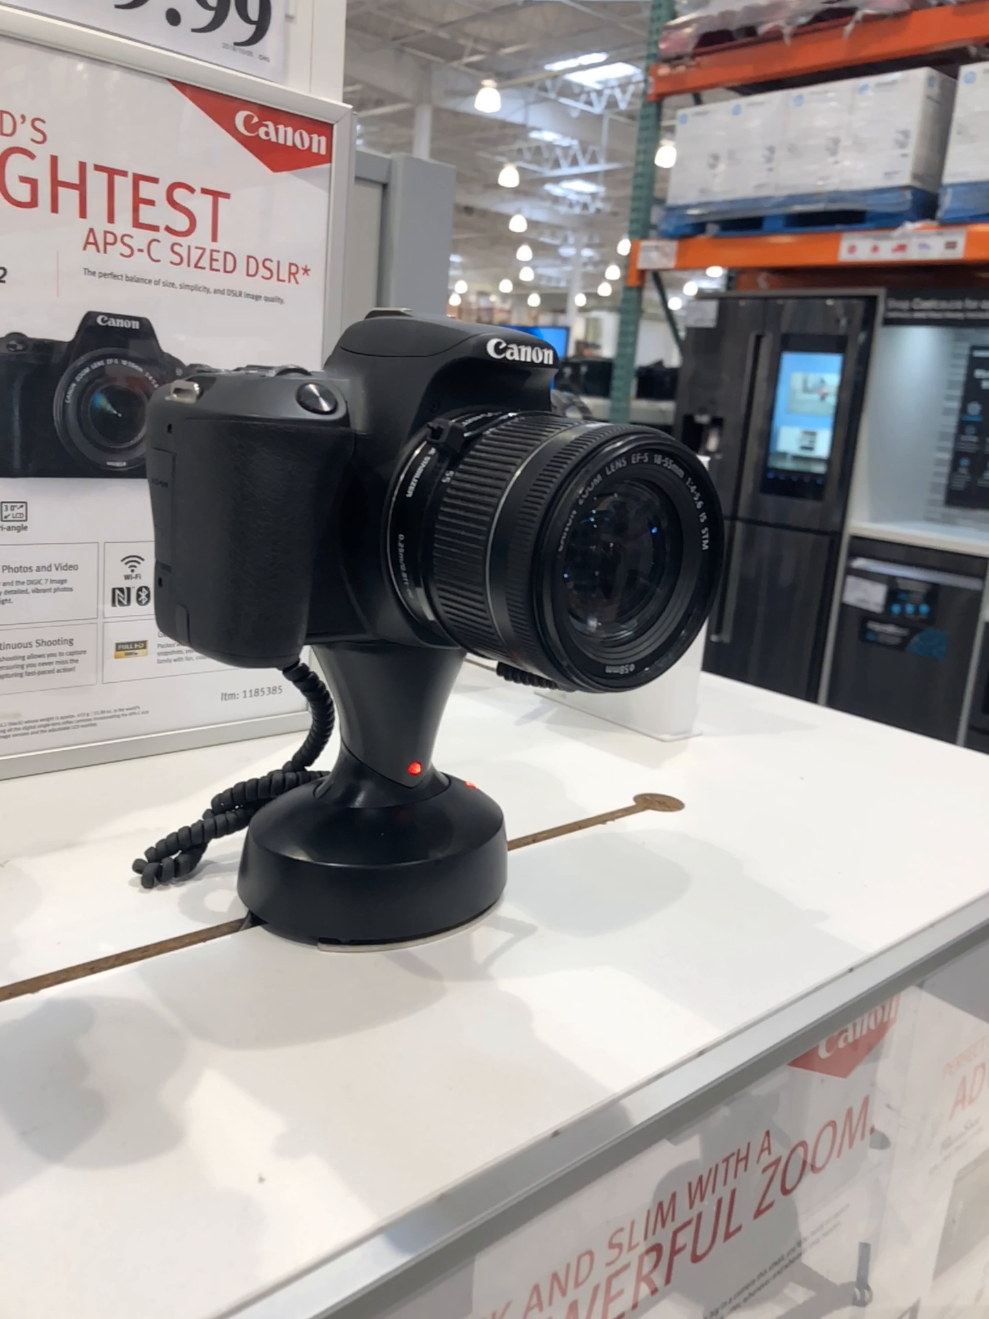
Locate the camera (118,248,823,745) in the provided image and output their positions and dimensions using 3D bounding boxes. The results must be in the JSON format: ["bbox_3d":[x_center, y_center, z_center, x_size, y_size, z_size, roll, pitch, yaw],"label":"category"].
[{"bbox_3d":[-0.009,-0.047,0.284,0.130,0.090,0.120,-7,18,-41],"label":"camera"}]
